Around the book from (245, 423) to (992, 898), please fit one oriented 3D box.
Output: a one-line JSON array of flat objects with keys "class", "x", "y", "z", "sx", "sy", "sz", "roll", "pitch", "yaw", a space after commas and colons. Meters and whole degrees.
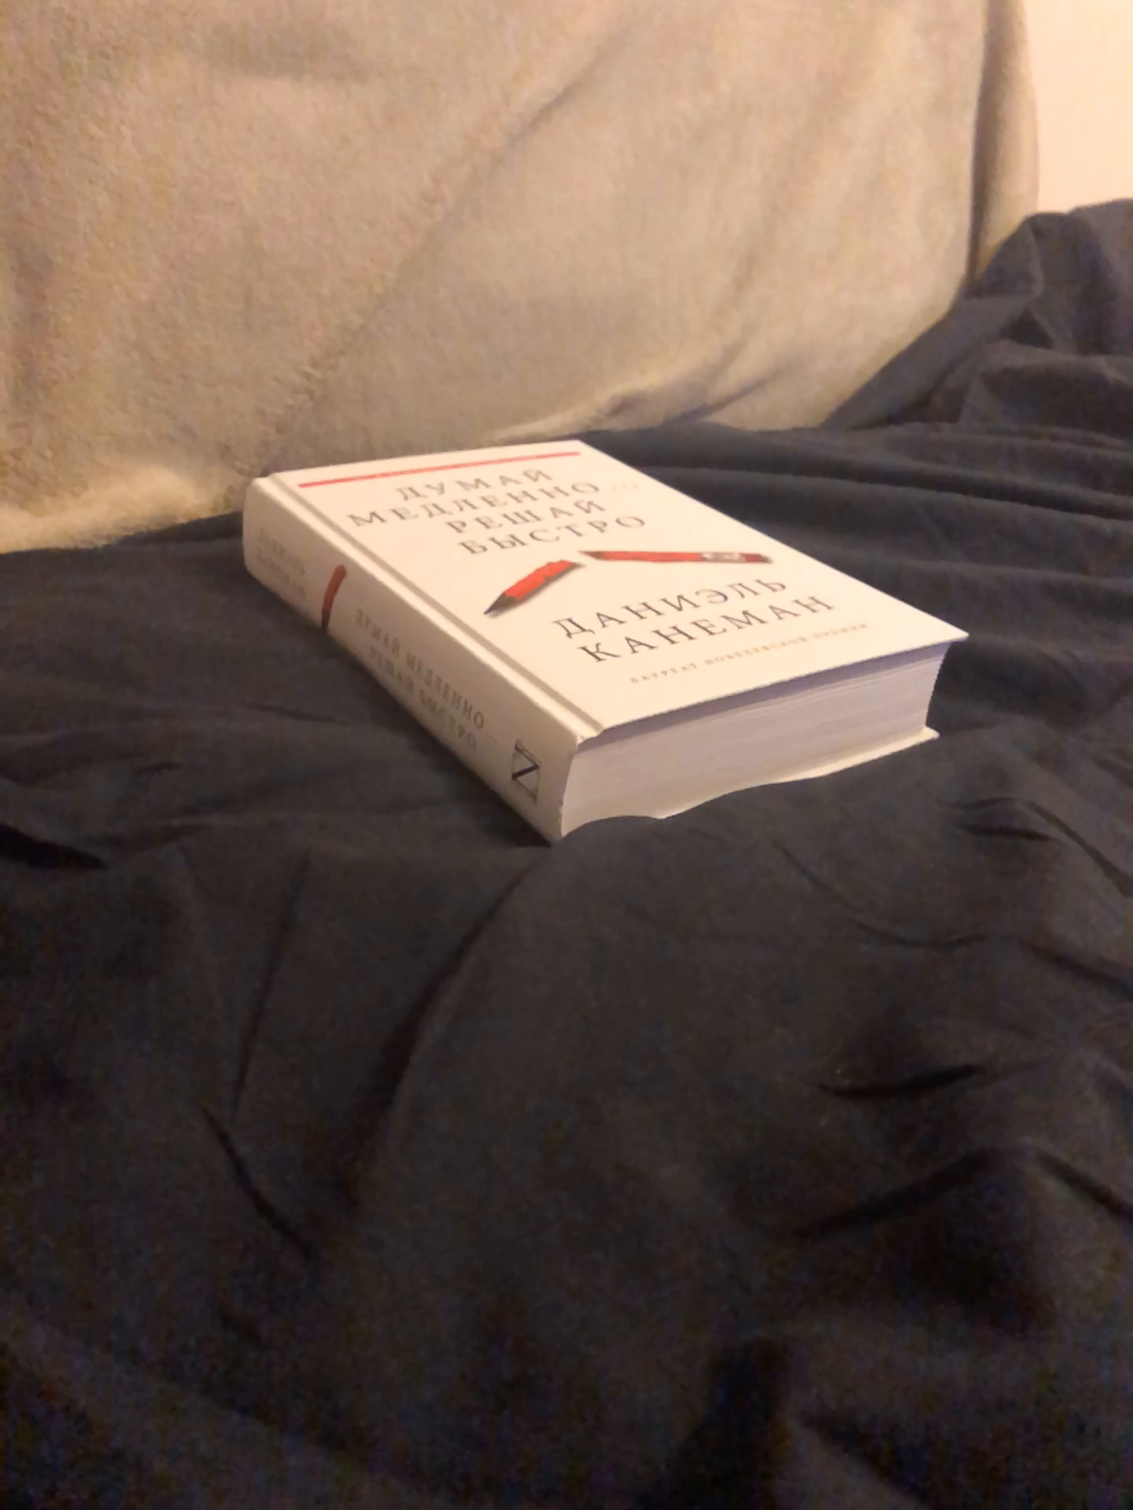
[{"class": "book", "x": 0.003, "y": -0.052, "z": 0.426, "sx": 0.149, "sy": 0.050, "sz": 0.220, "roll": -15, "pitch": 36, "yaw": -30}]
